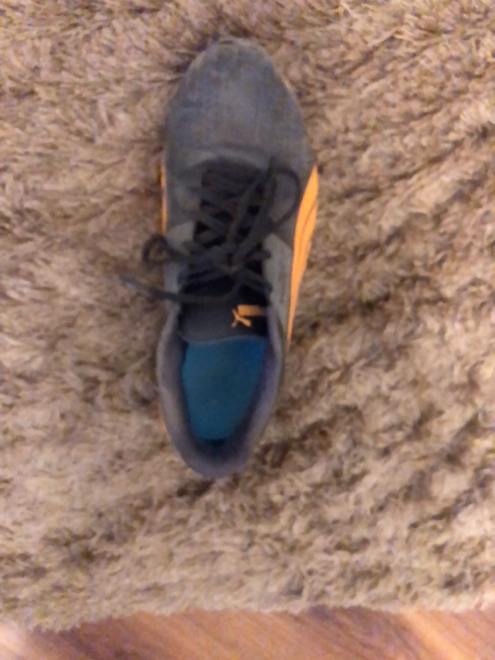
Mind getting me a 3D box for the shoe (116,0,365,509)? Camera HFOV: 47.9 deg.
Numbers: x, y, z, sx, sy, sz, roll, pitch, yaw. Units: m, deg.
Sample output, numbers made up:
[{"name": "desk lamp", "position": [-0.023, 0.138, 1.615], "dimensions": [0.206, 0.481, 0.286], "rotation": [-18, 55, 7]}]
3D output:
[{"name": "shoe", "position": [-0.018, -0.039, 0.385], "dimensions": [0.122, 0.110, 0.301], "rotation": [3, 108, -7]}]
